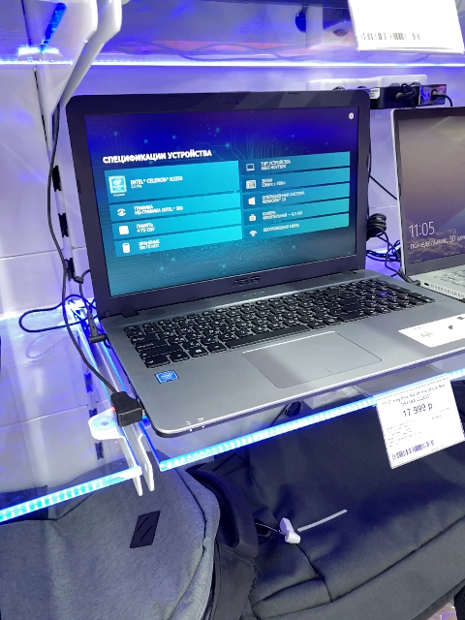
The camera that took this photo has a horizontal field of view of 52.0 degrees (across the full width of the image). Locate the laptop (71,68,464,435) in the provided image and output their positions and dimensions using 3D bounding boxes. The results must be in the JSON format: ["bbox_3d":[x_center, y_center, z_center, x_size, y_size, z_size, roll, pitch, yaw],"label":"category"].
[{"bbox_3d":[0.064,-0.097,0.479,0.372,0.232,0.263,-11,22,-22],"label":"laptop"}]
